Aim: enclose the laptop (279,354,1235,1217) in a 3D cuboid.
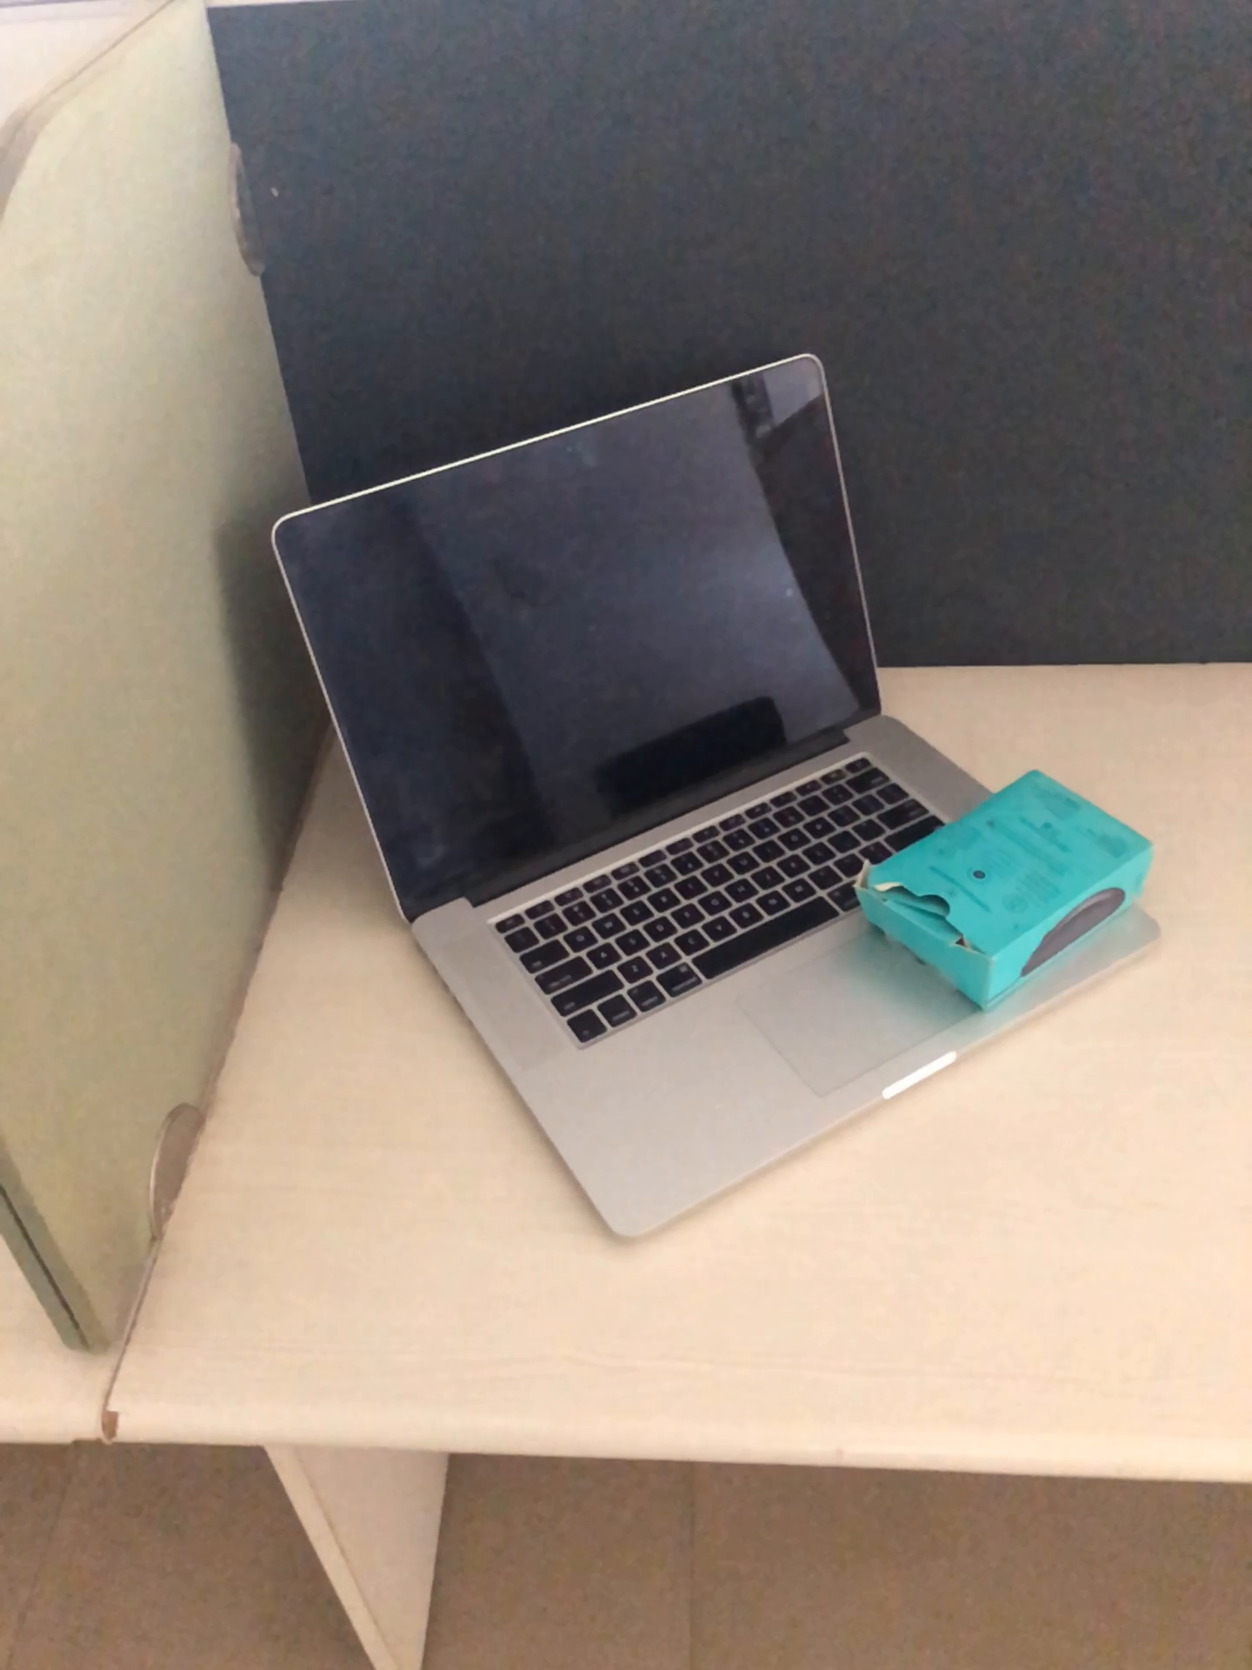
[{"bbox_3d":[0.052,-0.057,0.738,0.329,0.200,0.340,-23,47,-20],"label":"laptop"}]
